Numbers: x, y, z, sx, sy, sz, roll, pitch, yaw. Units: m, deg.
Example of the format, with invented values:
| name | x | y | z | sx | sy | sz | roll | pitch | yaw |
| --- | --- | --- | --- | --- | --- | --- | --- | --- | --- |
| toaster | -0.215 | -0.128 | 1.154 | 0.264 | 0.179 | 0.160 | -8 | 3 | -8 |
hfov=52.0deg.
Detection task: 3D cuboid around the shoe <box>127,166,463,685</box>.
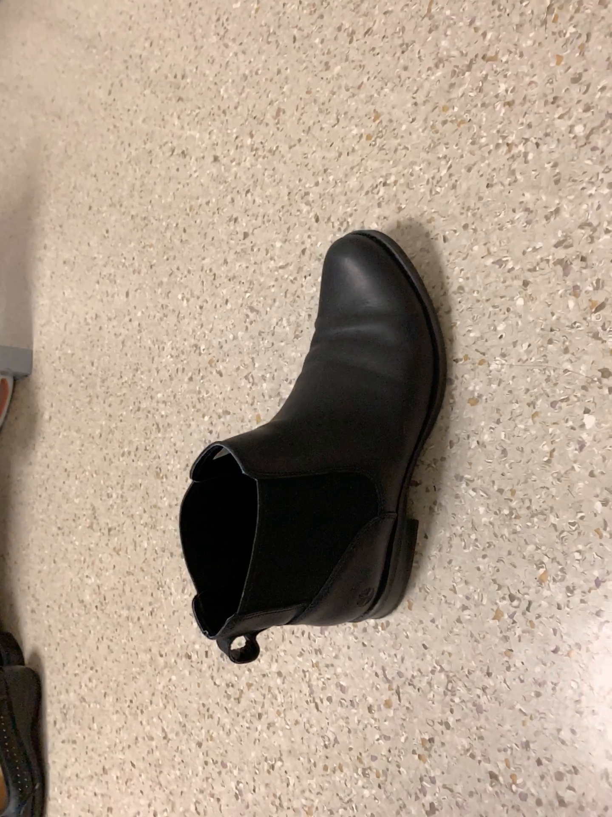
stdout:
| name | x | y | z | sx | sy | sz | roll | pitch | yaw |
| --- | --- | --- | --- | --- | --- | --- | --- | --- | --- |
| shoe | -0.001 | 0.012 | 0.411 | 0.108 | 0.163 | 0.262 | 4 | 87 | 45 |
